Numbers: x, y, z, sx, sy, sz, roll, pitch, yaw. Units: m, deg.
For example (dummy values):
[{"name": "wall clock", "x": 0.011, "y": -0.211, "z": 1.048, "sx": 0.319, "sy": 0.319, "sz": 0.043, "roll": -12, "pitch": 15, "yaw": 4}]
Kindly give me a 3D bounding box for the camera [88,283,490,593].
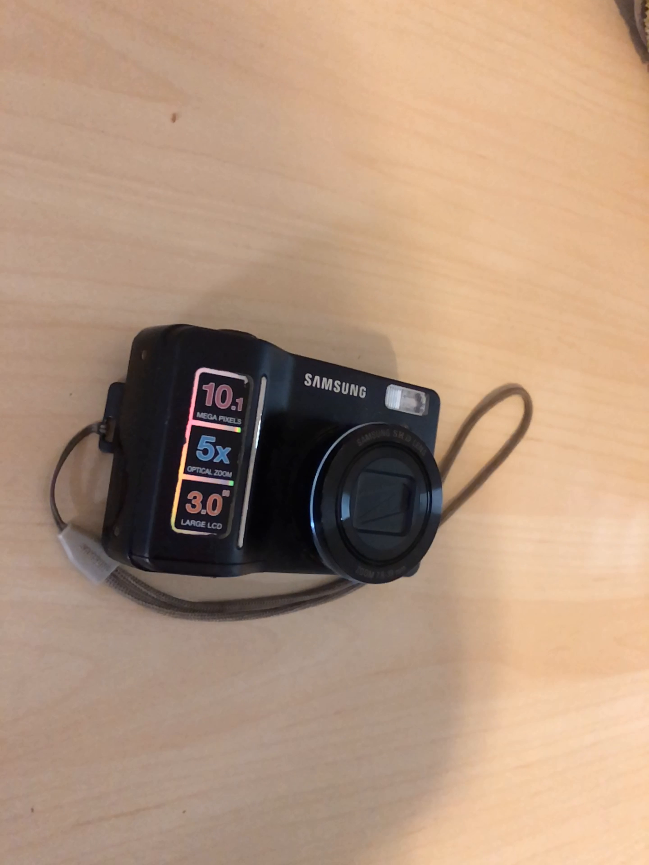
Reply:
[{"name": "camera", "x": -0.005, "y": 0.007, "z": 0.213, "sx": 0.110, "sy": 0.030, "sz": 0.070, "roll": 11, "pitch": 84, "yaw": -34}]
